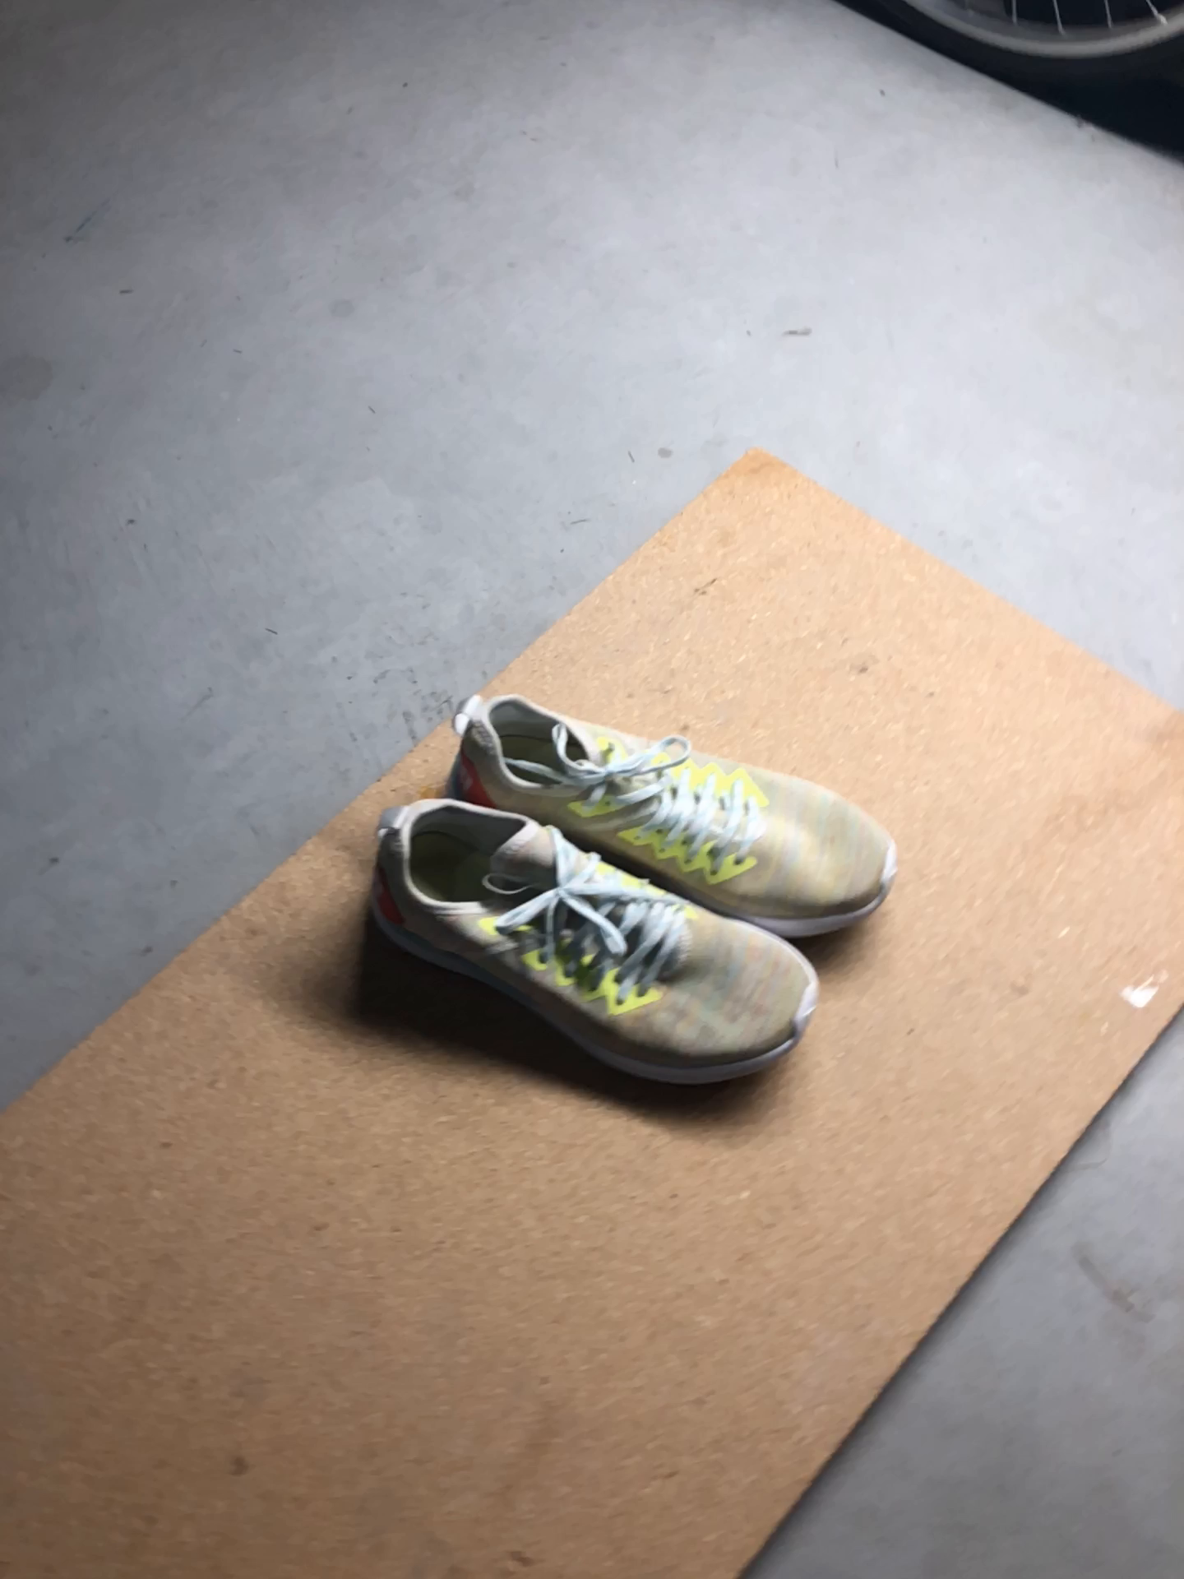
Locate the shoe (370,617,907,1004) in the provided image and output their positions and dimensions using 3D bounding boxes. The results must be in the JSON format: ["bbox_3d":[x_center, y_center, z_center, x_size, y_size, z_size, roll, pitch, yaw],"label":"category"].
[{"bbox_3d":[0.025,0.012,0.810,0.300,0.100,0.110,20,57,7],"label":"shoe"}]

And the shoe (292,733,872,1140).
[{"bbox_3d":[-0.008,0.084,0.748,0.300,0.100,0.100,20,57,7],"label":"shoe"}]
